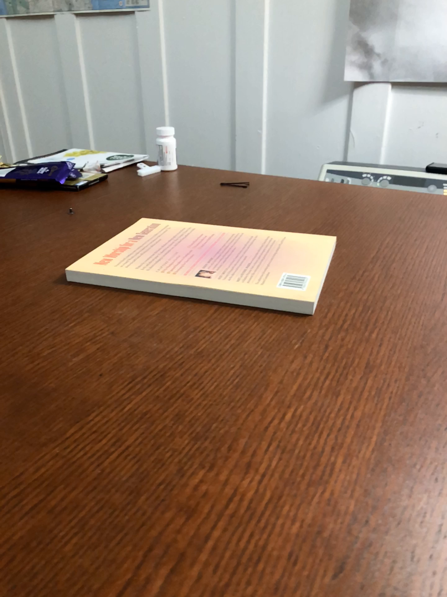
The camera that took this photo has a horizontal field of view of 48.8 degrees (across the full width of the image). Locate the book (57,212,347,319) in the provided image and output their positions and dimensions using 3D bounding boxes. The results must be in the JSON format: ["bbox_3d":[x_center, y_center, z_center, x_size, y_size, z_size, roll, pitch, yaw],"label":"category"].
[{"bbox_3d":[-0.010,-0.048,0.543,0.270,0.020,0.191,7,28,15],"label":"book"}]
